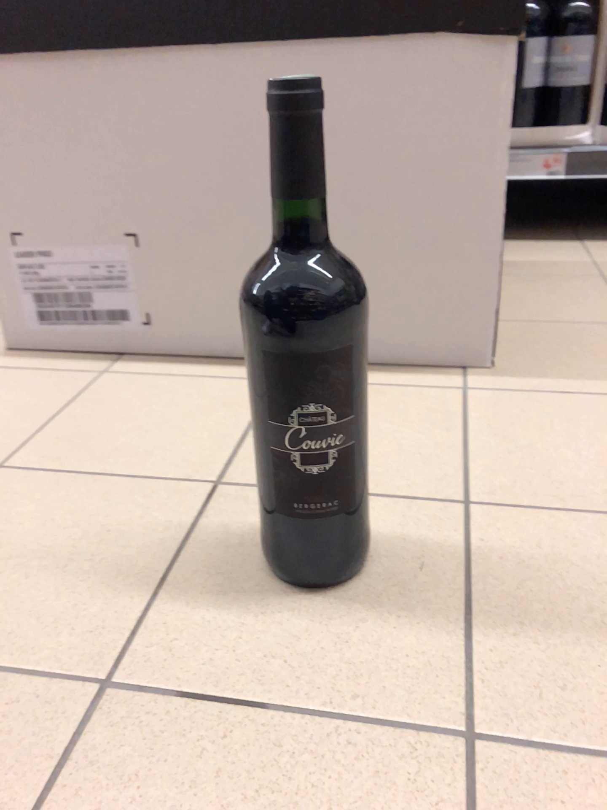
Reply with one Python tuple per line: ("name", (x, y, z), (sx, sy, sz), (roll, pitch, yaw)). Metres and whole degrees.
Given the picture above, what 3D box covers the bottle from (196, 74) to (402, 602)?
("bottle", (0.001, -0.032, 0.395), (0.090, 0.288, 0.090), (-2, 26, 1))
